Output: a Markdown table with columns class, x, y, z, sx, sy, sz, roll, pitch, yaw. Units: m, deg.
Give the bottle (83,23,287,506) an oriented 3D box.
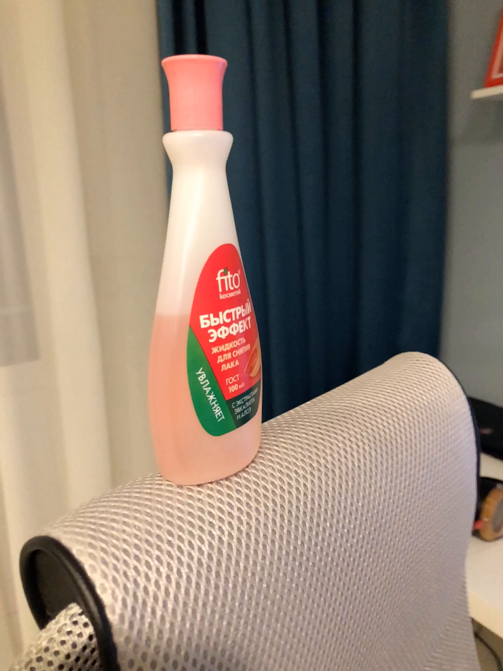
| class | x | y | z | sx | sy | sz | roll | pitch | yaw |
| --- | --- | --- | --- | --- | --- | --- | --- | --- | --- |
| bottle | -0.020 | -0.024 | 0.216 | 0.039 | 0.157 | 0.056 | 6 | 16 | 34 |
